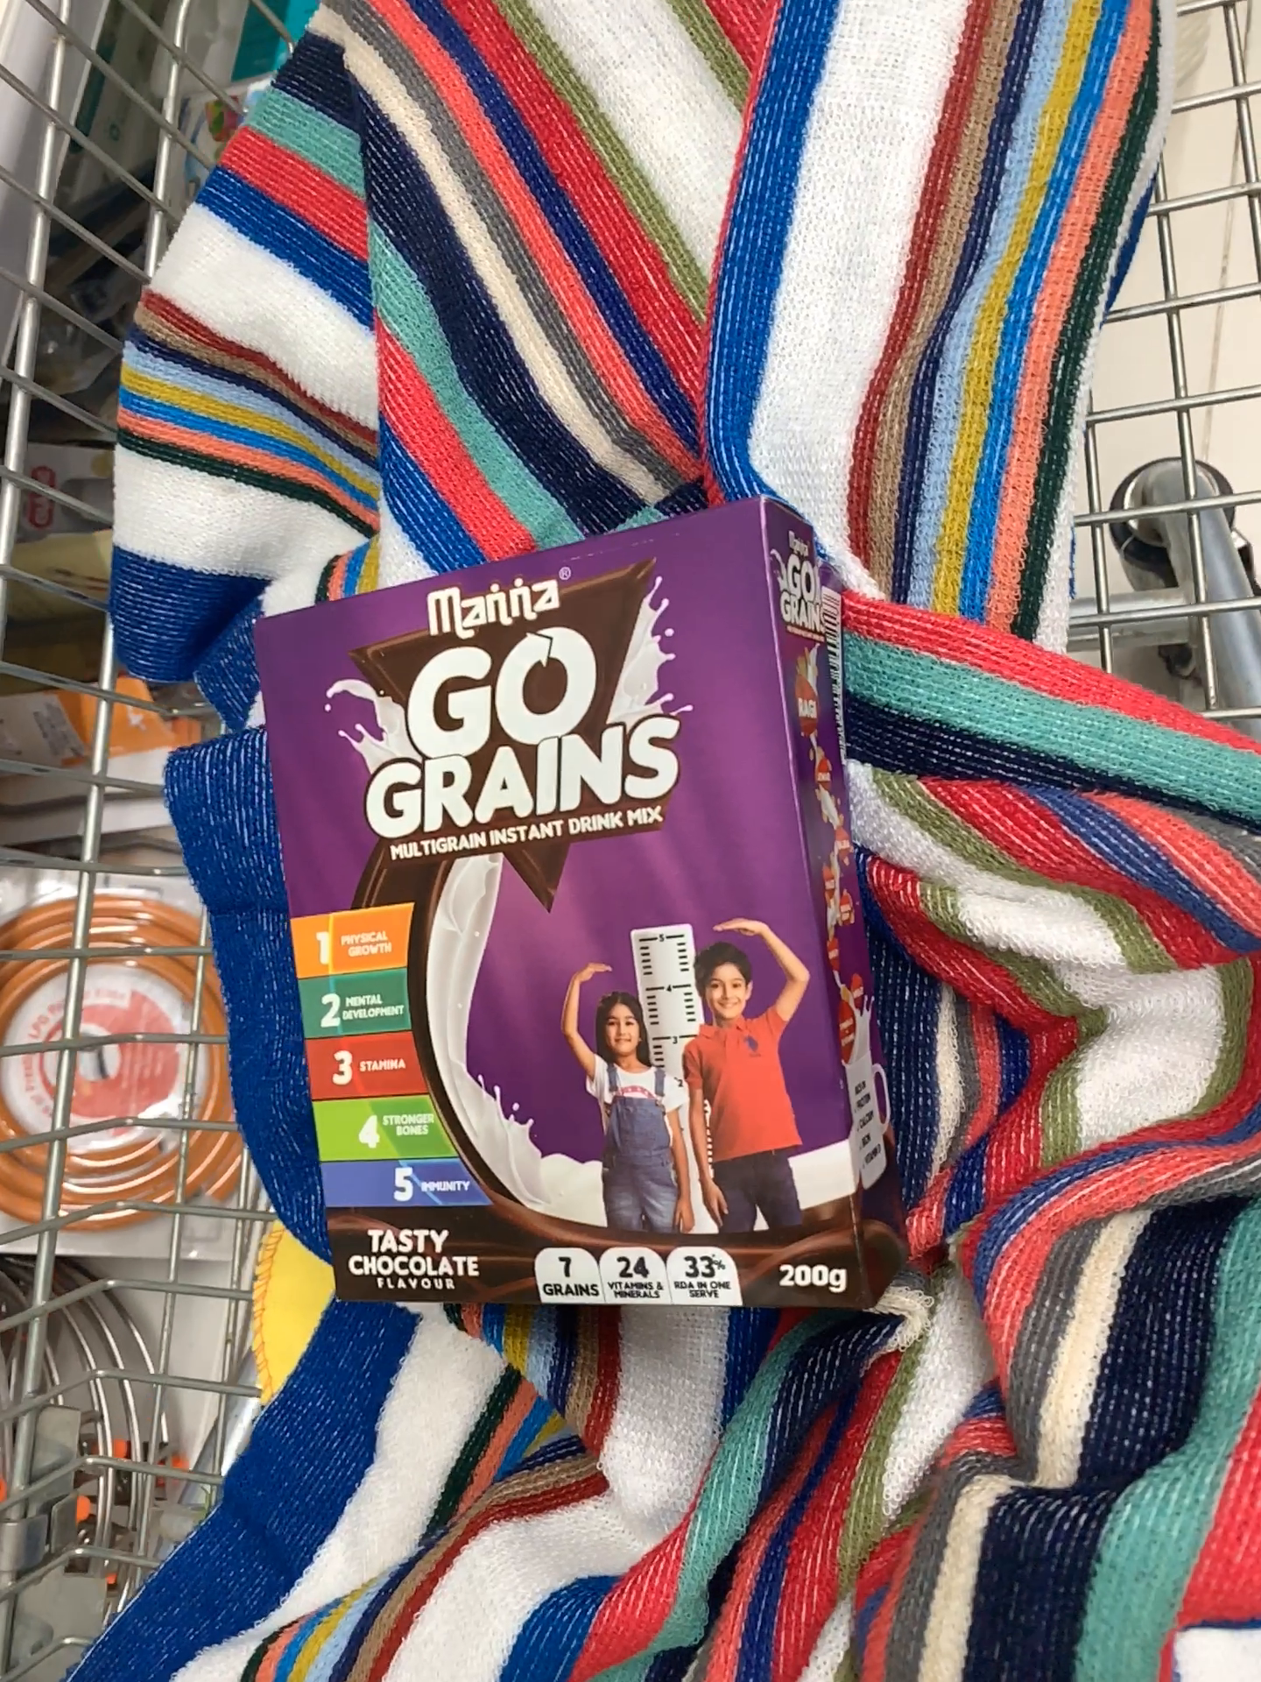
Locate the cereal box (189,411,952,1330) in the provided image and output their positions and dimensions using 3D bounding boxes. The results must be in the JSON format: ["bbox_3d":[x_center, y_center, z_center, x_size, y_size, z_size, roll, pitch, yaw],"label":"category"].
[{"bbox_3d":[-0.014,0.012,0.288,0.140,0.050,0.170,-7,91,22],"label":"cereal box"}]
